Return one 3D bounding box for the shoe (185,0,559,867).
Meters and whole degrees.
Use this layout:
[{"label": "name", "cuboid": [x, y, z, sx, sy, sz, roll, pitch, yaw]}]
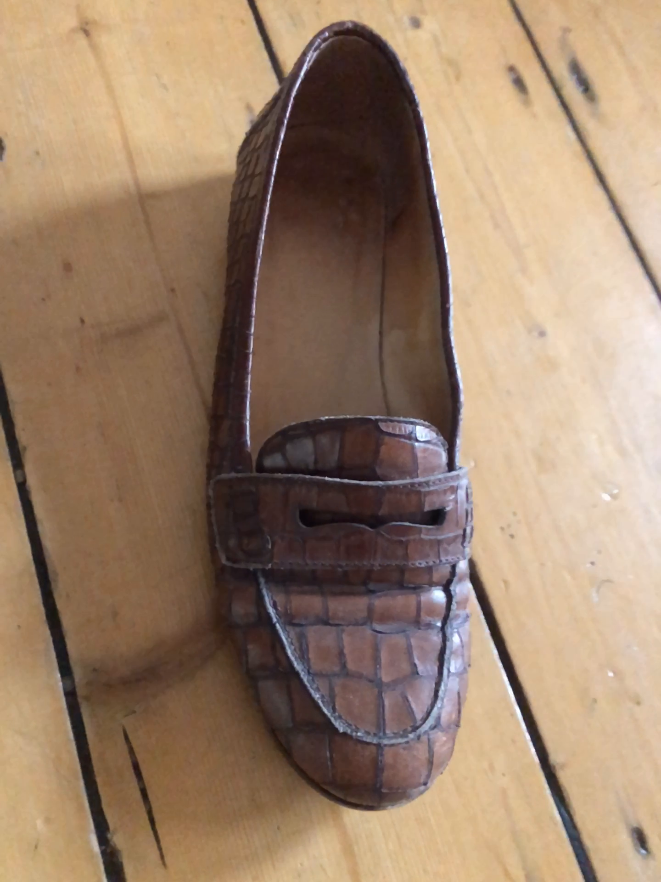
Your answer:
[{"label": "shoe", "cuboid": [-0.007, -0.041, 0.269, 0.080, 0.100, 0.321, -1, 71, -13]}]
